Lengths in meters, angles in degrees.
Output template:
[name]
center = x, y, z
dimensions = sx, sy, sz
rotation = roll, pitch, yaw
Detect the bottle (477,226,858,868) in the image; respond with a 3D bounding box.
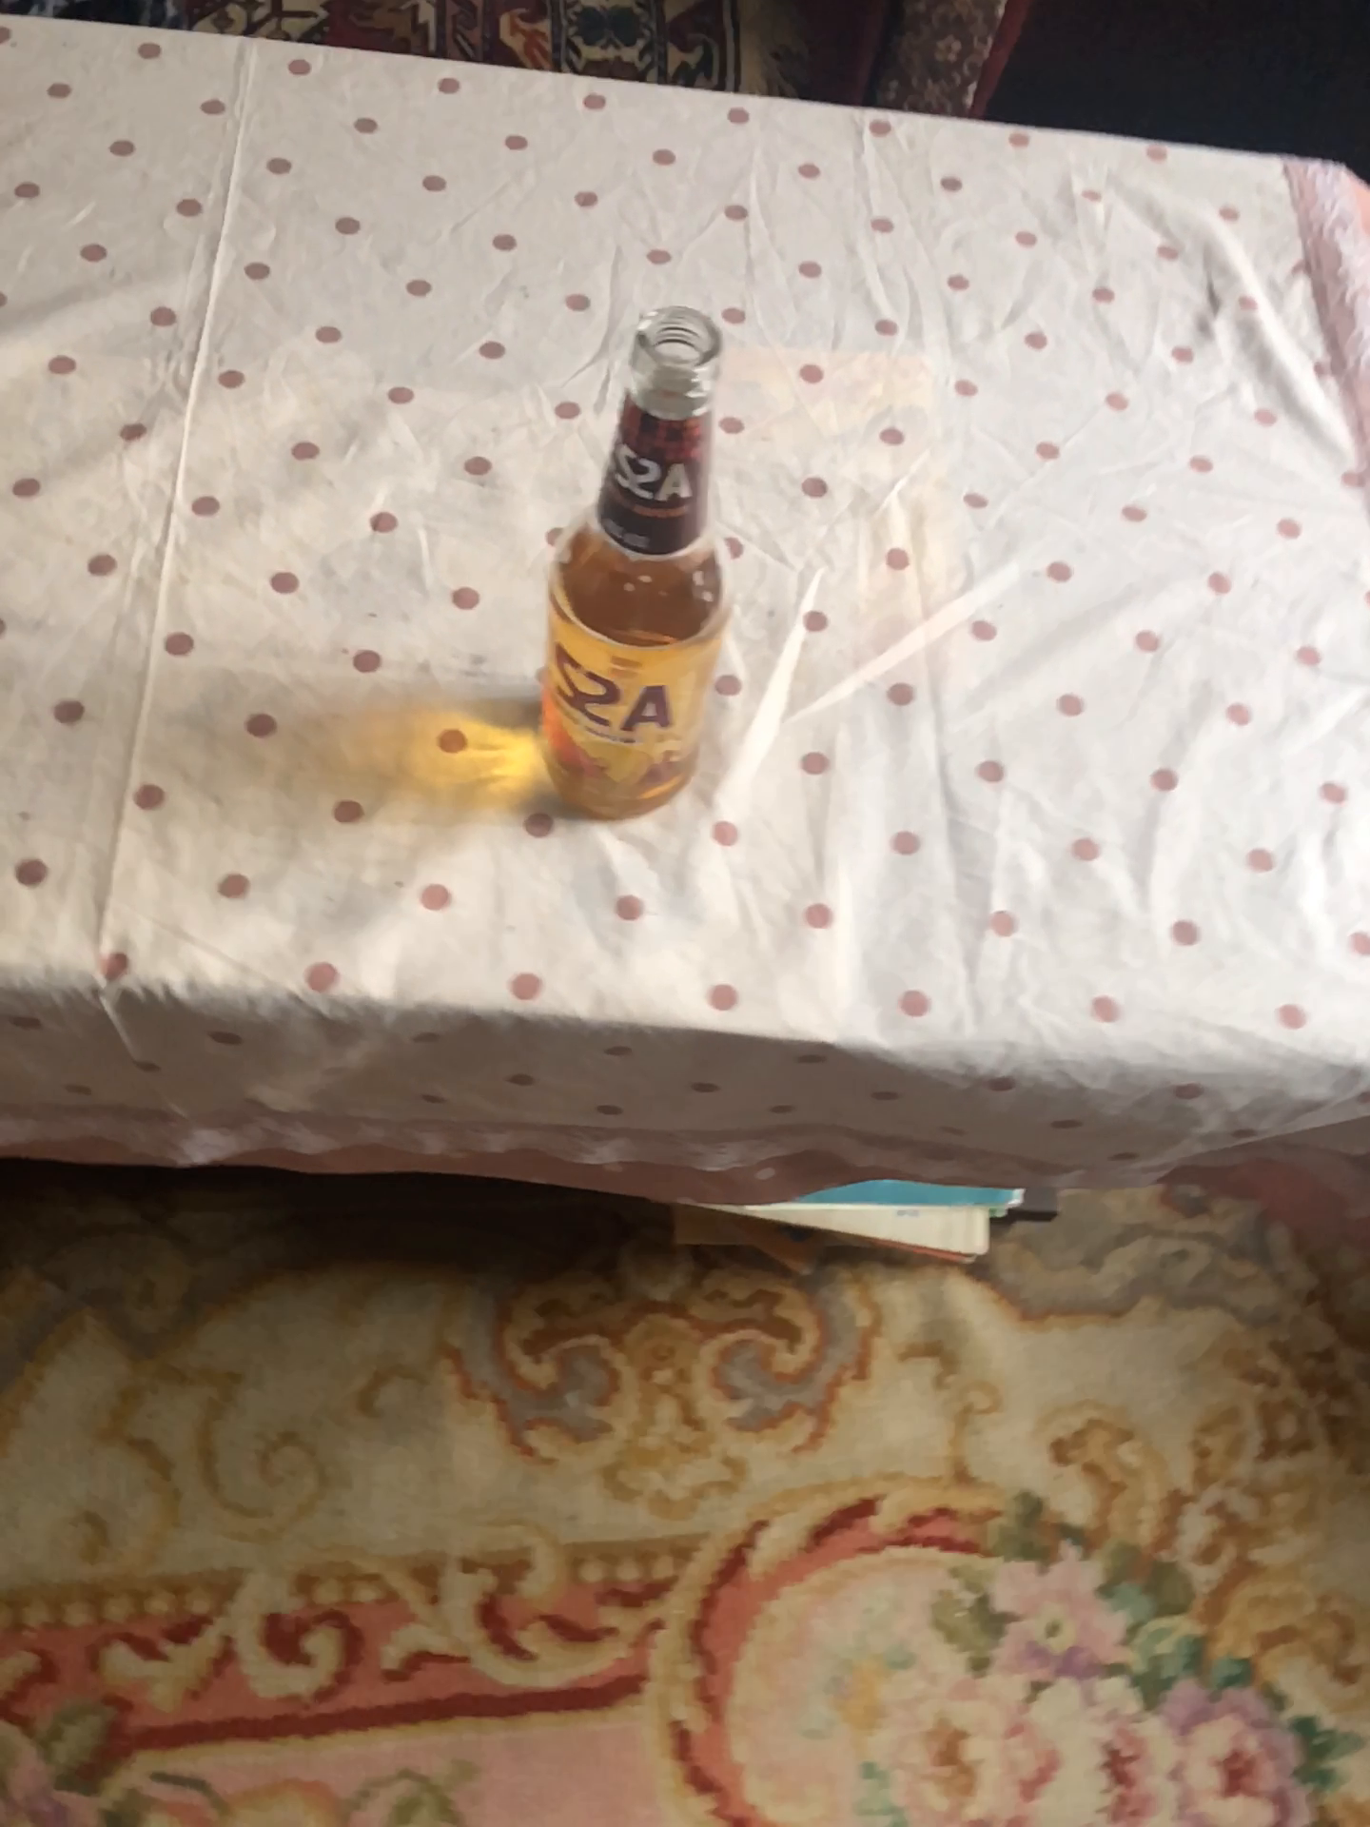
[bottle]
center = -0.015, -0.115, 0.533
dimensions = 0.080, 0.209, 0.080
rotation = 3, 63, -6
